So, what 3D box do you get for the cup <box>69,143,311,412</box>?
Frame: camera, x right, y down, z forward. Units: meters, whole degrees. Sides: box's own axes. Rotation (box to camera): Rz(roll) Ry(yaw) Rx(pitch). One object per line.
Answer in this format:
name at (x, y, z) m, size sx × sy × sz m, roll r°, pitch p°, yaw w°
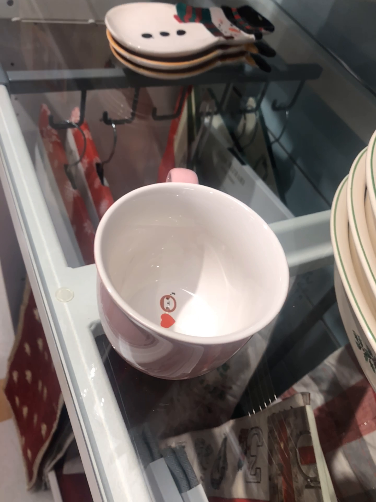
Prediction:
cup at (-0.010, 0.017, 0.263) m, size 0.112 × 0.085 × 0.136 m, roll 4°, pitch 52°, yaw -13°
